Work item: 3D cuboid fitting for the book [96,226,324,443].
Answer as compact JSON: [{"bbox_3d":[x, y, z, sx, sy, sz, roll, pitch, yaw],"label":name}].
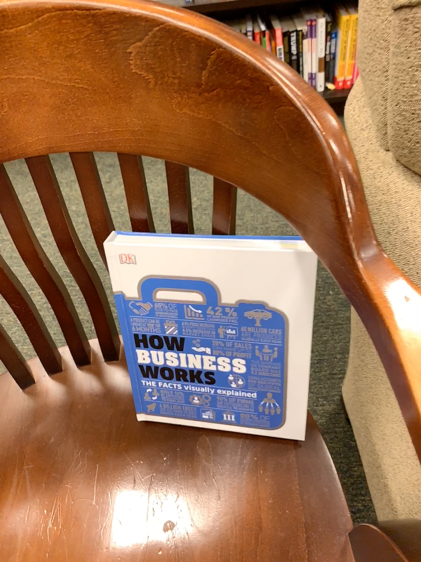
[{"bbox_3d":[0.003,0.065,0.473,0.211,0.246,0.039,4,31,11],"label":"book"}]
